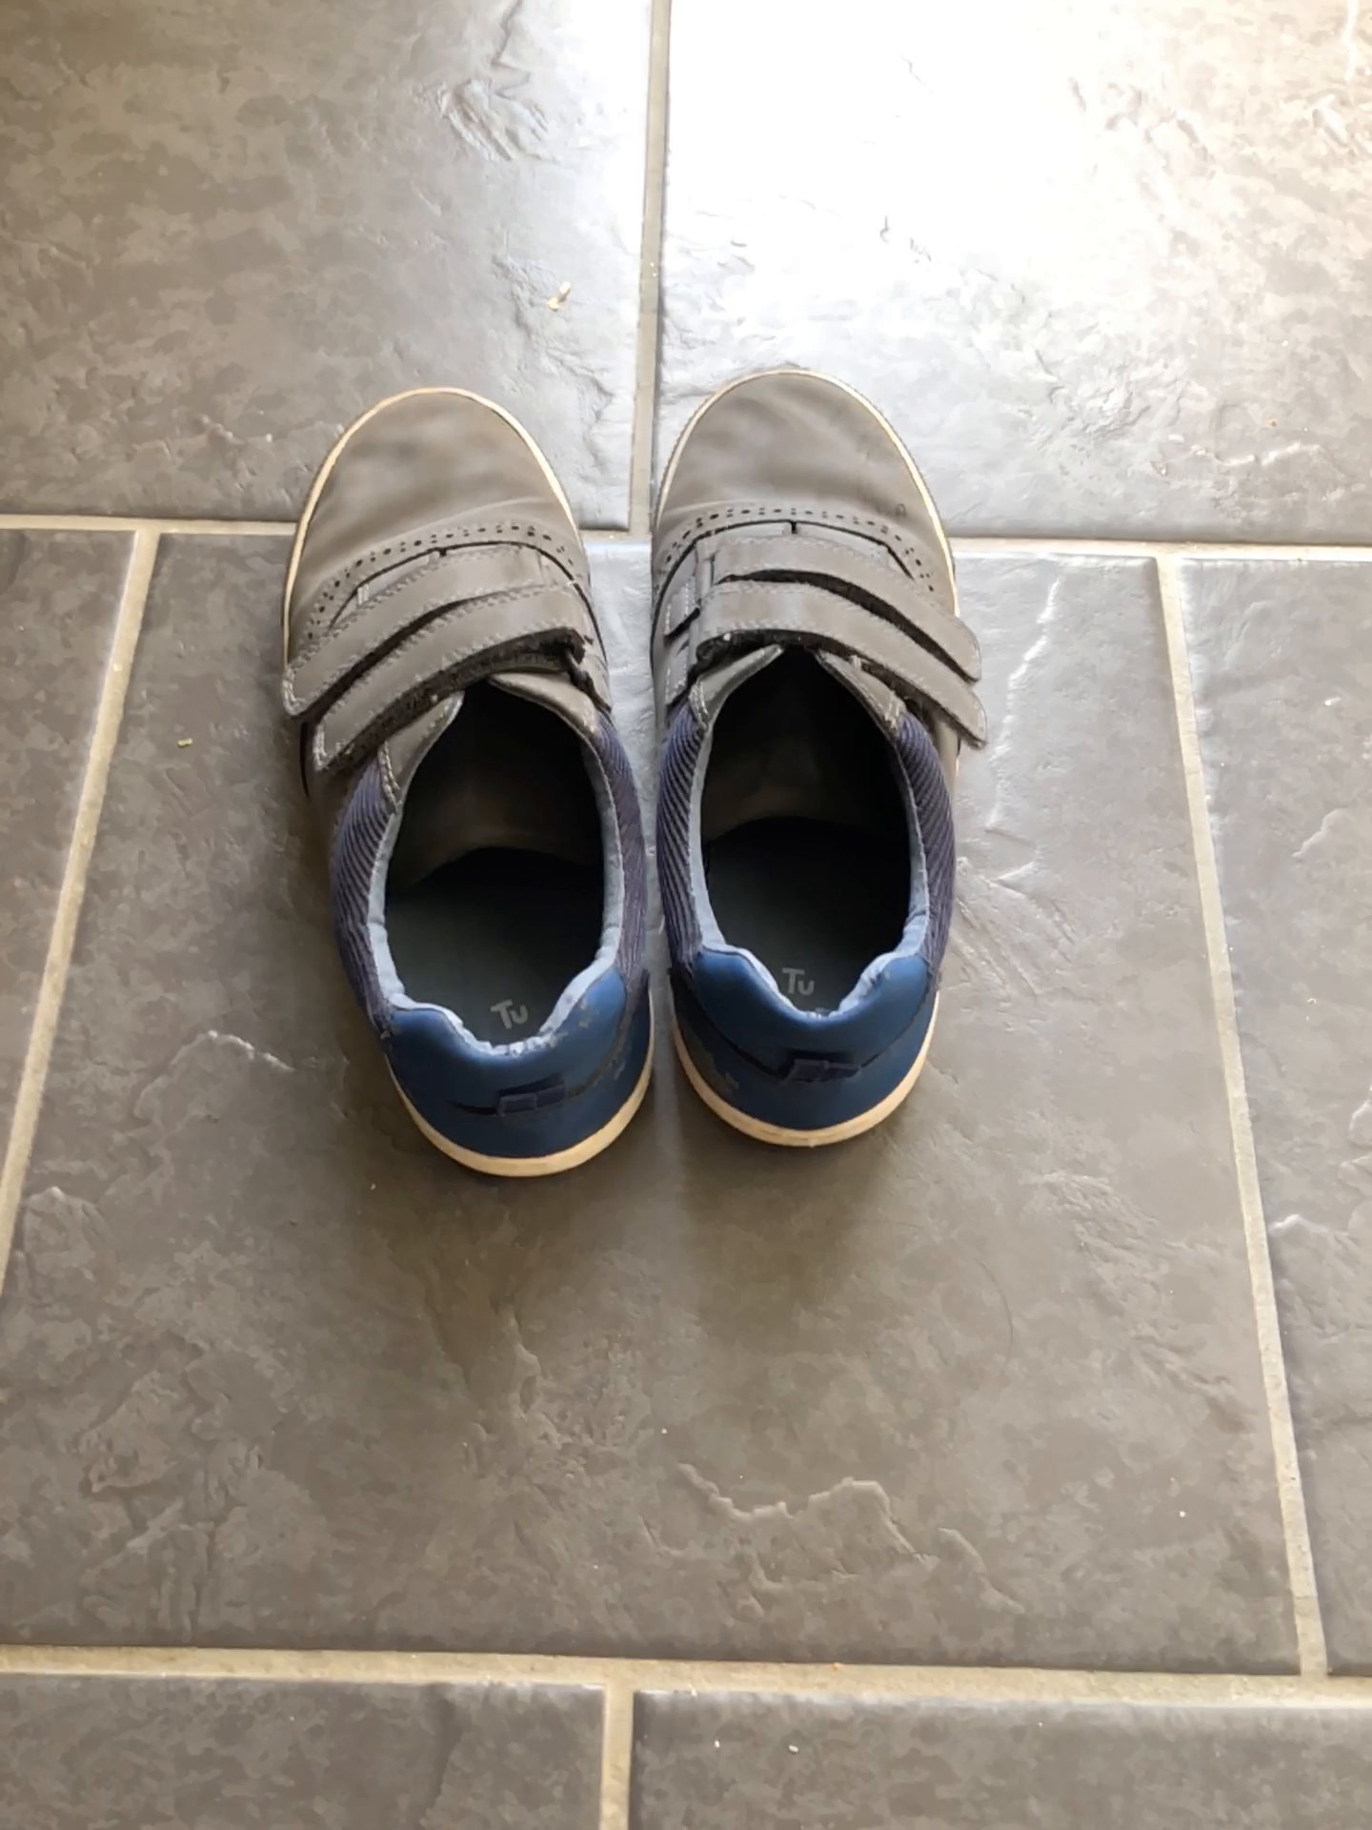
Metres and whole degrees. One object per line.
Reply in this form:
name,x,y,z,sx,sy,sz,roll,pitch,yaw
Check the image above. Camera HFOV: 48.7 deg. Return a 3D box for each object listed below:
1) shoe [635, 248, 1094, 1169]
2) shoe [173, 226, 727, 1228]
shoe,0.038,-0.063,0.417,0.100,0.070,0.251,-1,66,0
shoe,-0.066,-0.057,0.402,0.100,0.070,0.251,-11,66,-5
